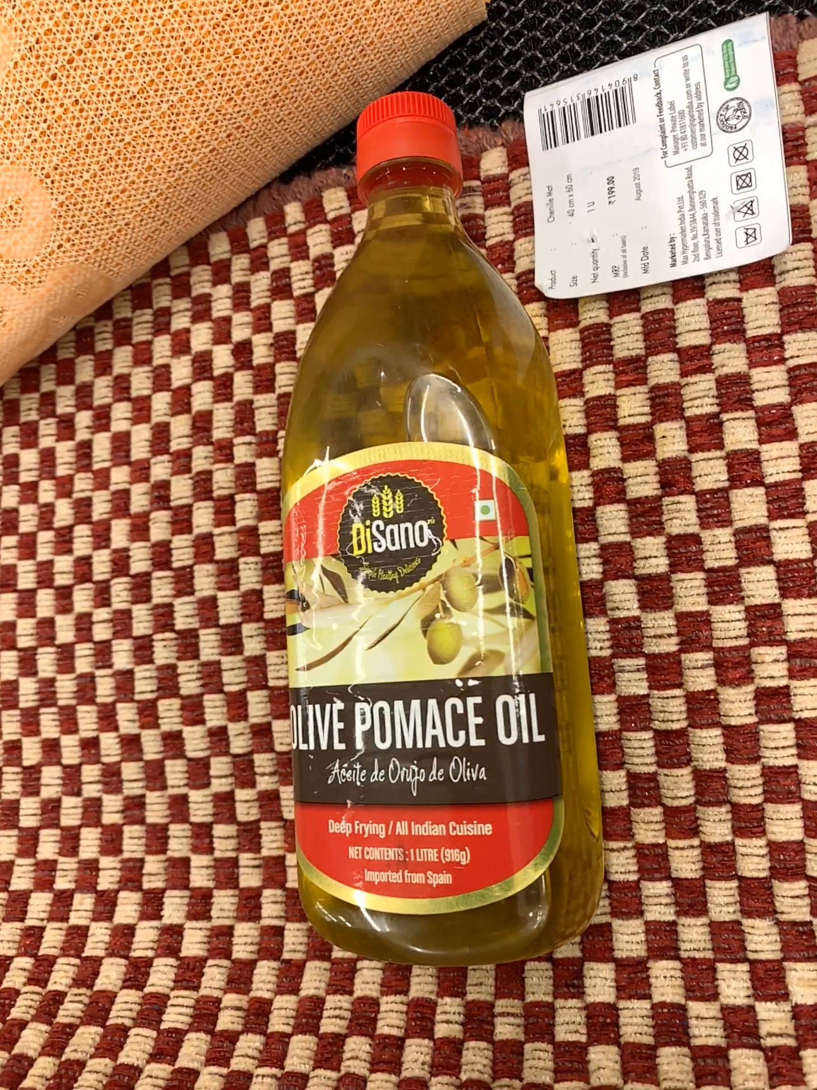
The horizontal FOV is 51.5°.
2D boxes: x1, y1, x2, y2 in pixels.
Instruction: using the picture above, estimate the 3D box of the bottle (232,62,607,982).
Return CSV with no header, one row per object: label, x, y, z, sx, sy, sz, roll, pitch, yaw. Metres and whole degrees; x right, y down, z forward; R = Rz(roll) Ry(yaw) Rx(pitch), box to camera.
bottle,0.006,-0.005,0.239,0.080,0.080,0.210,-4,82,15
